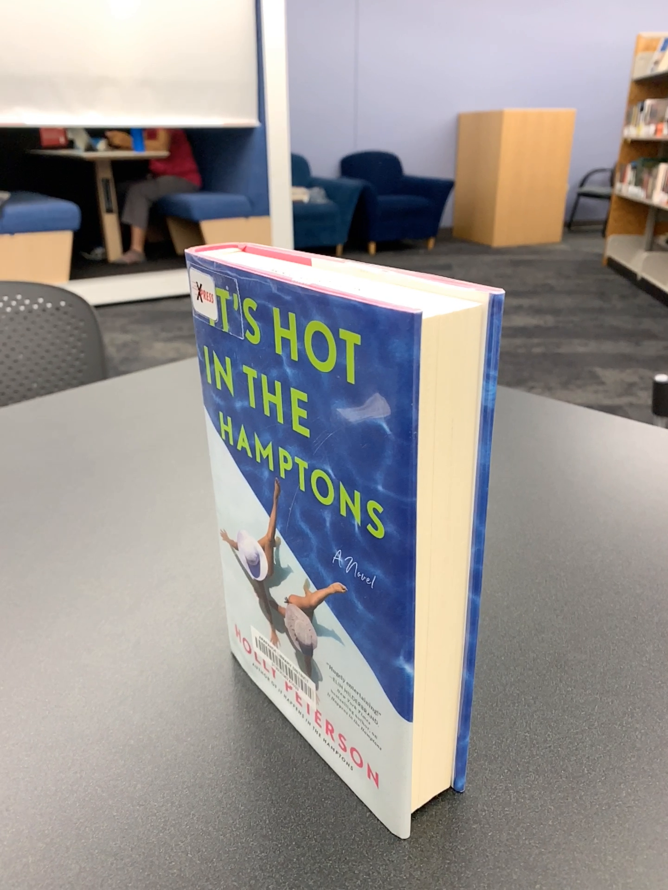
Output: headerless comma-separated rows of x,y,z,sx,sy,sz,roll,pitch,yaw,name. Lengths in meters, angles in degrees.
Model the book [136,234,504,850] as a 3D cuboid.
-0.015,0.030,0.310,0.050,0.219,0.171,-19,30,-33,book
